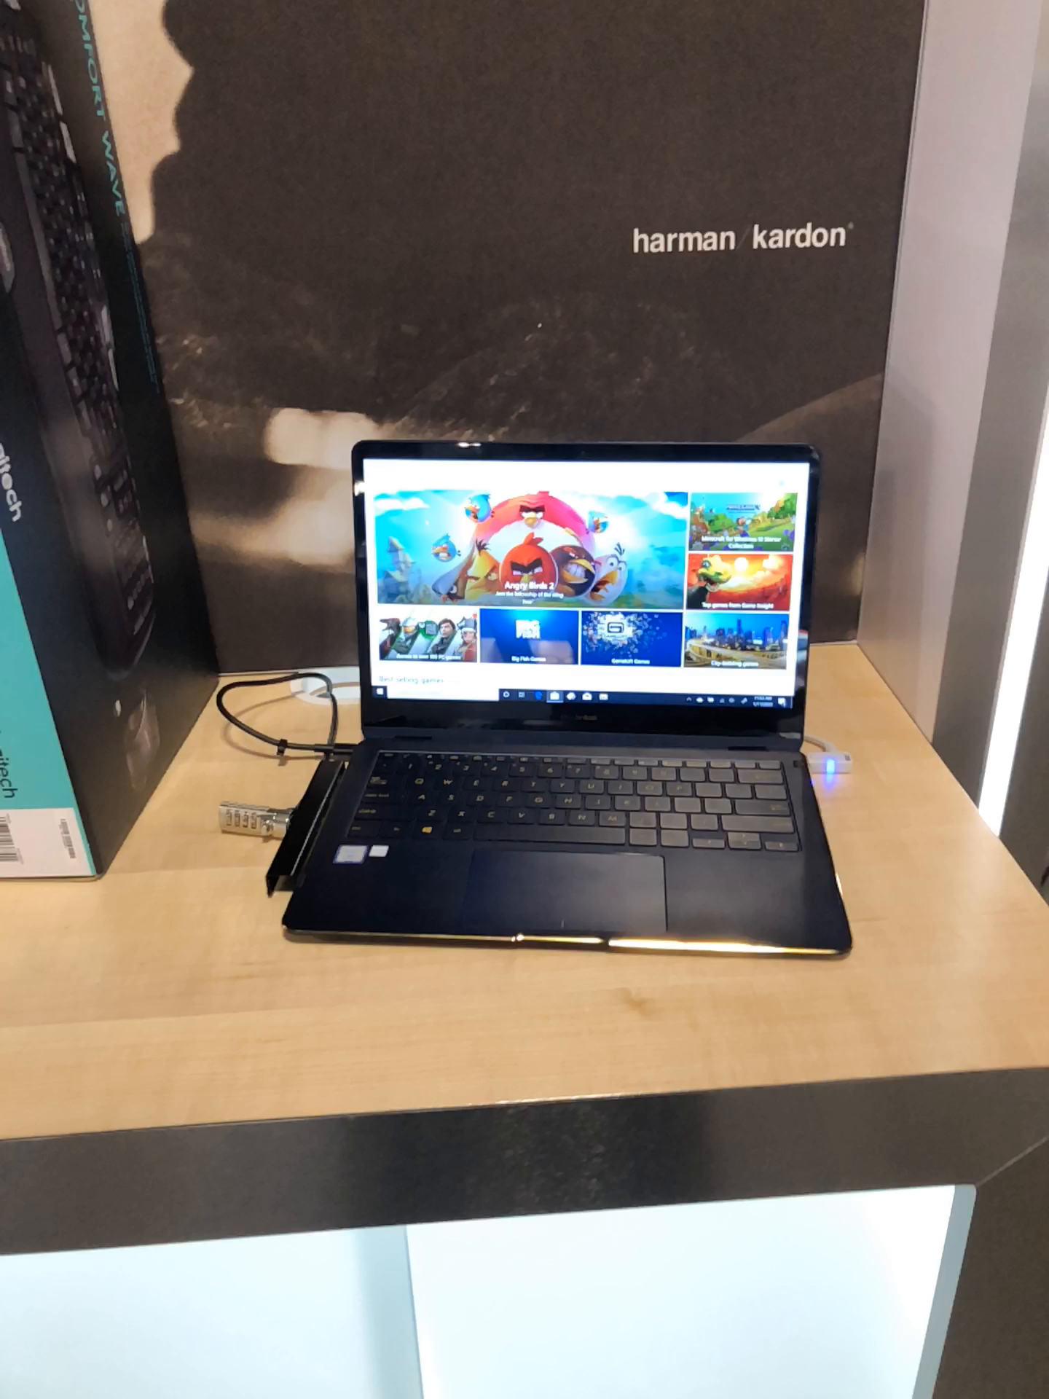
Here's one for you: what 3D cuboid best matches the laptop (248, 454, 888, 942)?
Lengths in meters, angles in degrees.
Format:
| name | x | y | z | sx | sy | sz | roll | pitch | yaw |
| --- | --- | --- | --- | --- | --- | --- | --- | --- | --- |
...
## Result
| name | x | y | z | sx | sy | sz | roll | pitch | yaw |
| --- | --- | --- | --- | --- | --- | --- | --- | --- | --- |
| laptop | 0.032 | -0.016 | 0.676 | 0.291 | 0.190 | 0.249 | 1 | 27 | 5 |
